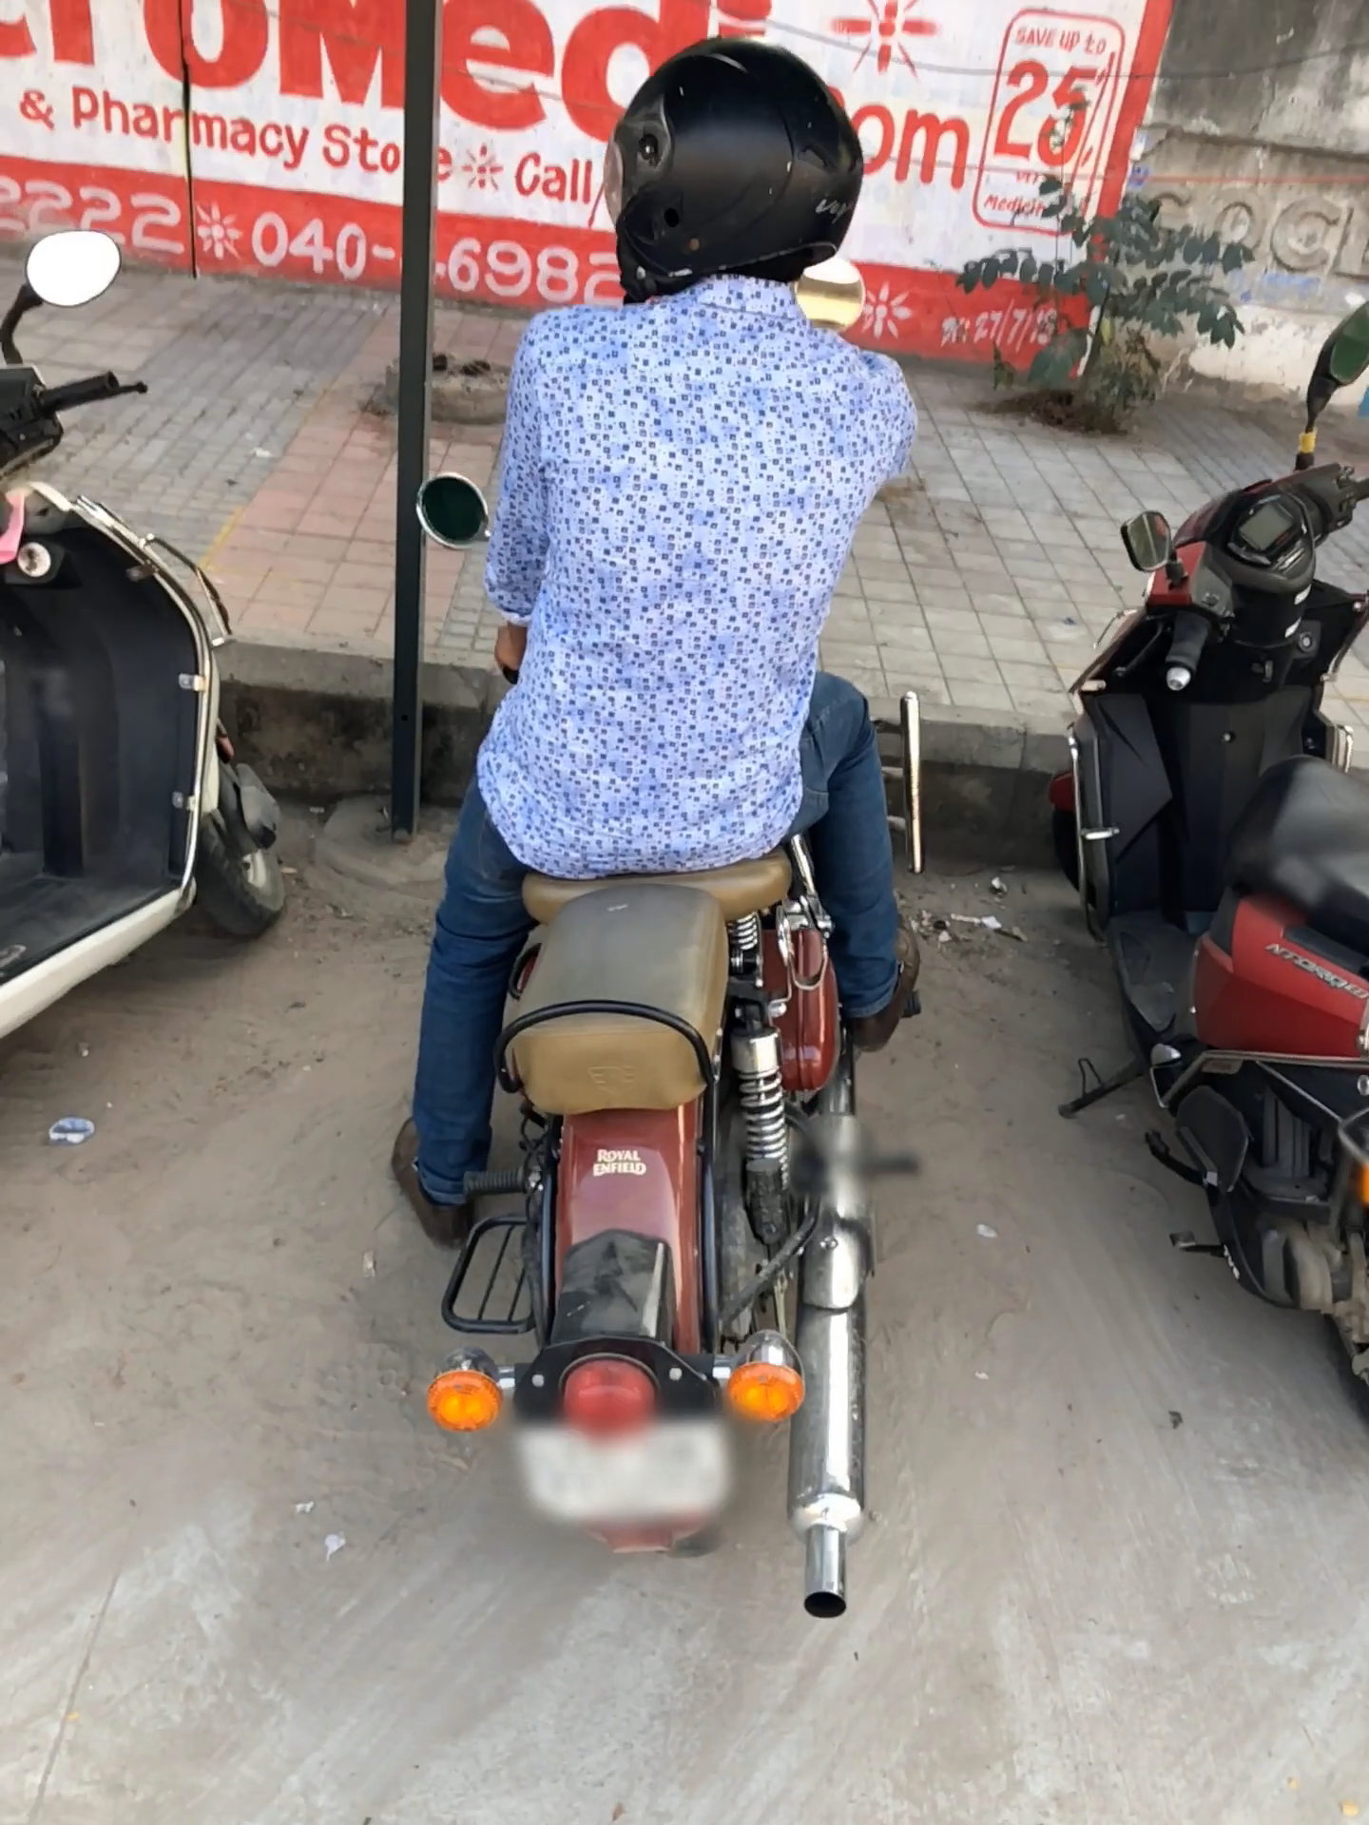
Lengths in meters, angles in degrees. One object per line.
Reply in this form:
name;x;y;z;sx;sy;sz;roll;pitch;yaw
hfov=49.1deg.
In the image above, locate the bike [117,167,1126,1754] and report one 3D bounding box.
bike;-0.092;-0.072;2.090;0.792;1.256;1.558;7;37;-2
